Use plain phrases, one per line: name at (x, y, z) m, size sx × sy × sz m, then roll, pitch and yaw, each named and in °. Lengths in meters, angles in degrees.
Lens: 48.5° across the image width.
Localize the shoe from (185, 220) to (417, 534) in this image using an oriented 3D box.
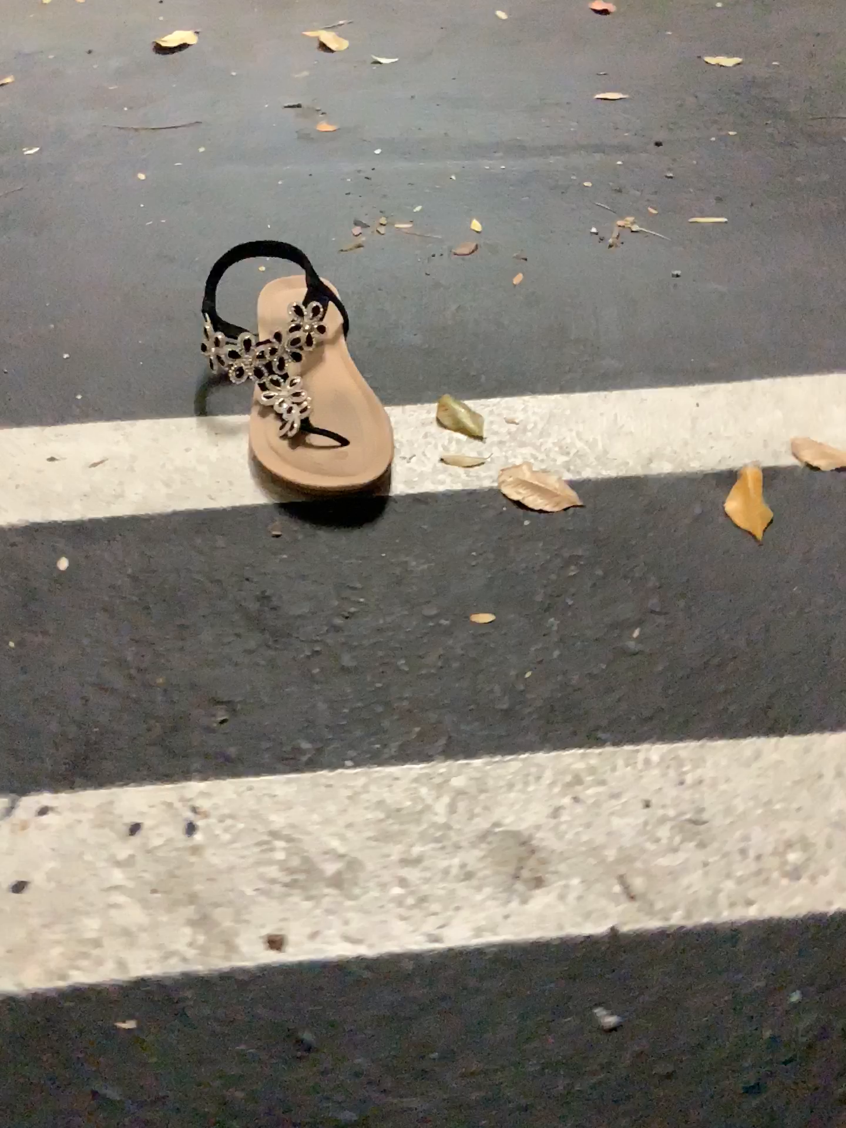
shoe at (-0.092, -0.142, 0.652) m, size 0.120 × 0.060 × 0.260 m, roll -8°, pitch 49°, yaw -10°
